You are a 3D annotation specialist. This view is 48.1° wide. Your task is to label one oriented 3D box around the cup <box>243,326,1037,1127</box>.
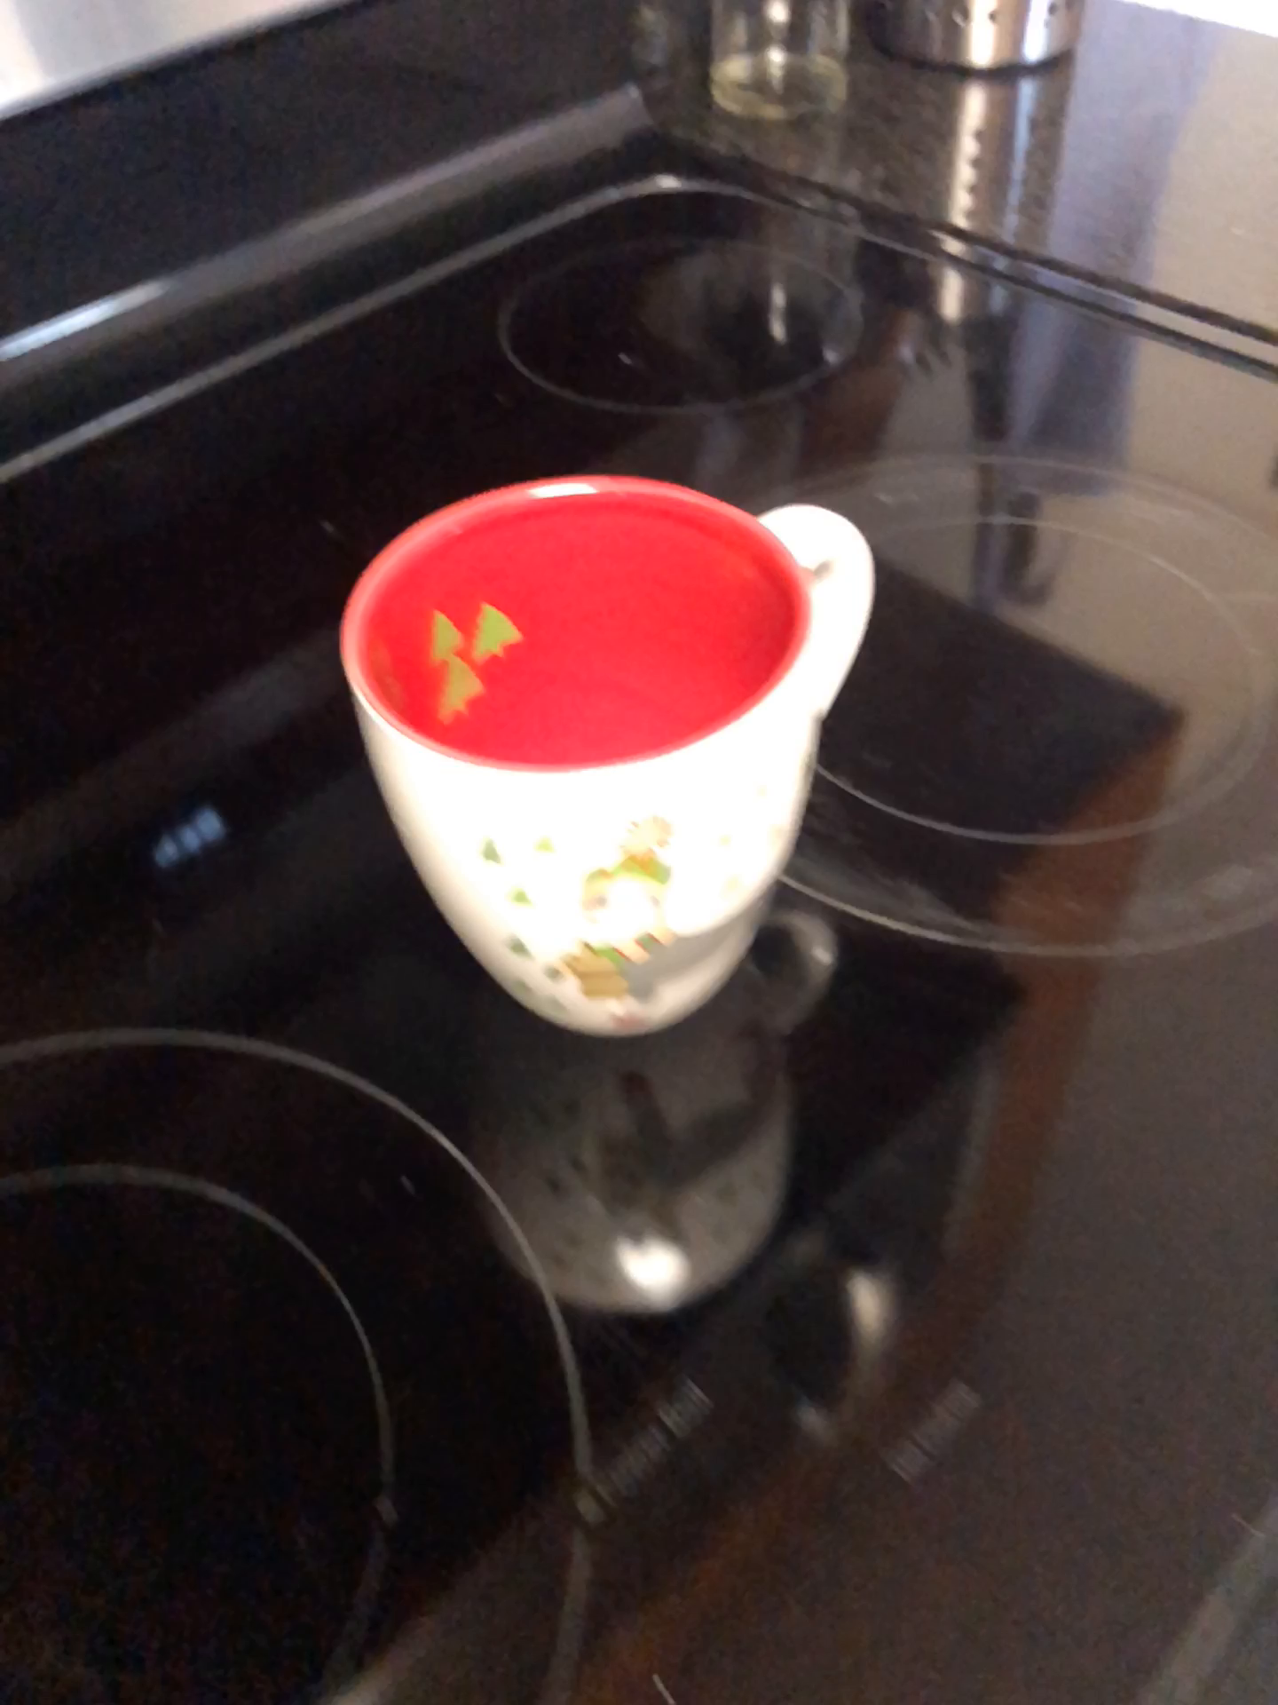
[{"bbox_3d":[0.005,-0.036,0.339,0.100,0.100,0.140,32,56,29],"label":"cup"}]
